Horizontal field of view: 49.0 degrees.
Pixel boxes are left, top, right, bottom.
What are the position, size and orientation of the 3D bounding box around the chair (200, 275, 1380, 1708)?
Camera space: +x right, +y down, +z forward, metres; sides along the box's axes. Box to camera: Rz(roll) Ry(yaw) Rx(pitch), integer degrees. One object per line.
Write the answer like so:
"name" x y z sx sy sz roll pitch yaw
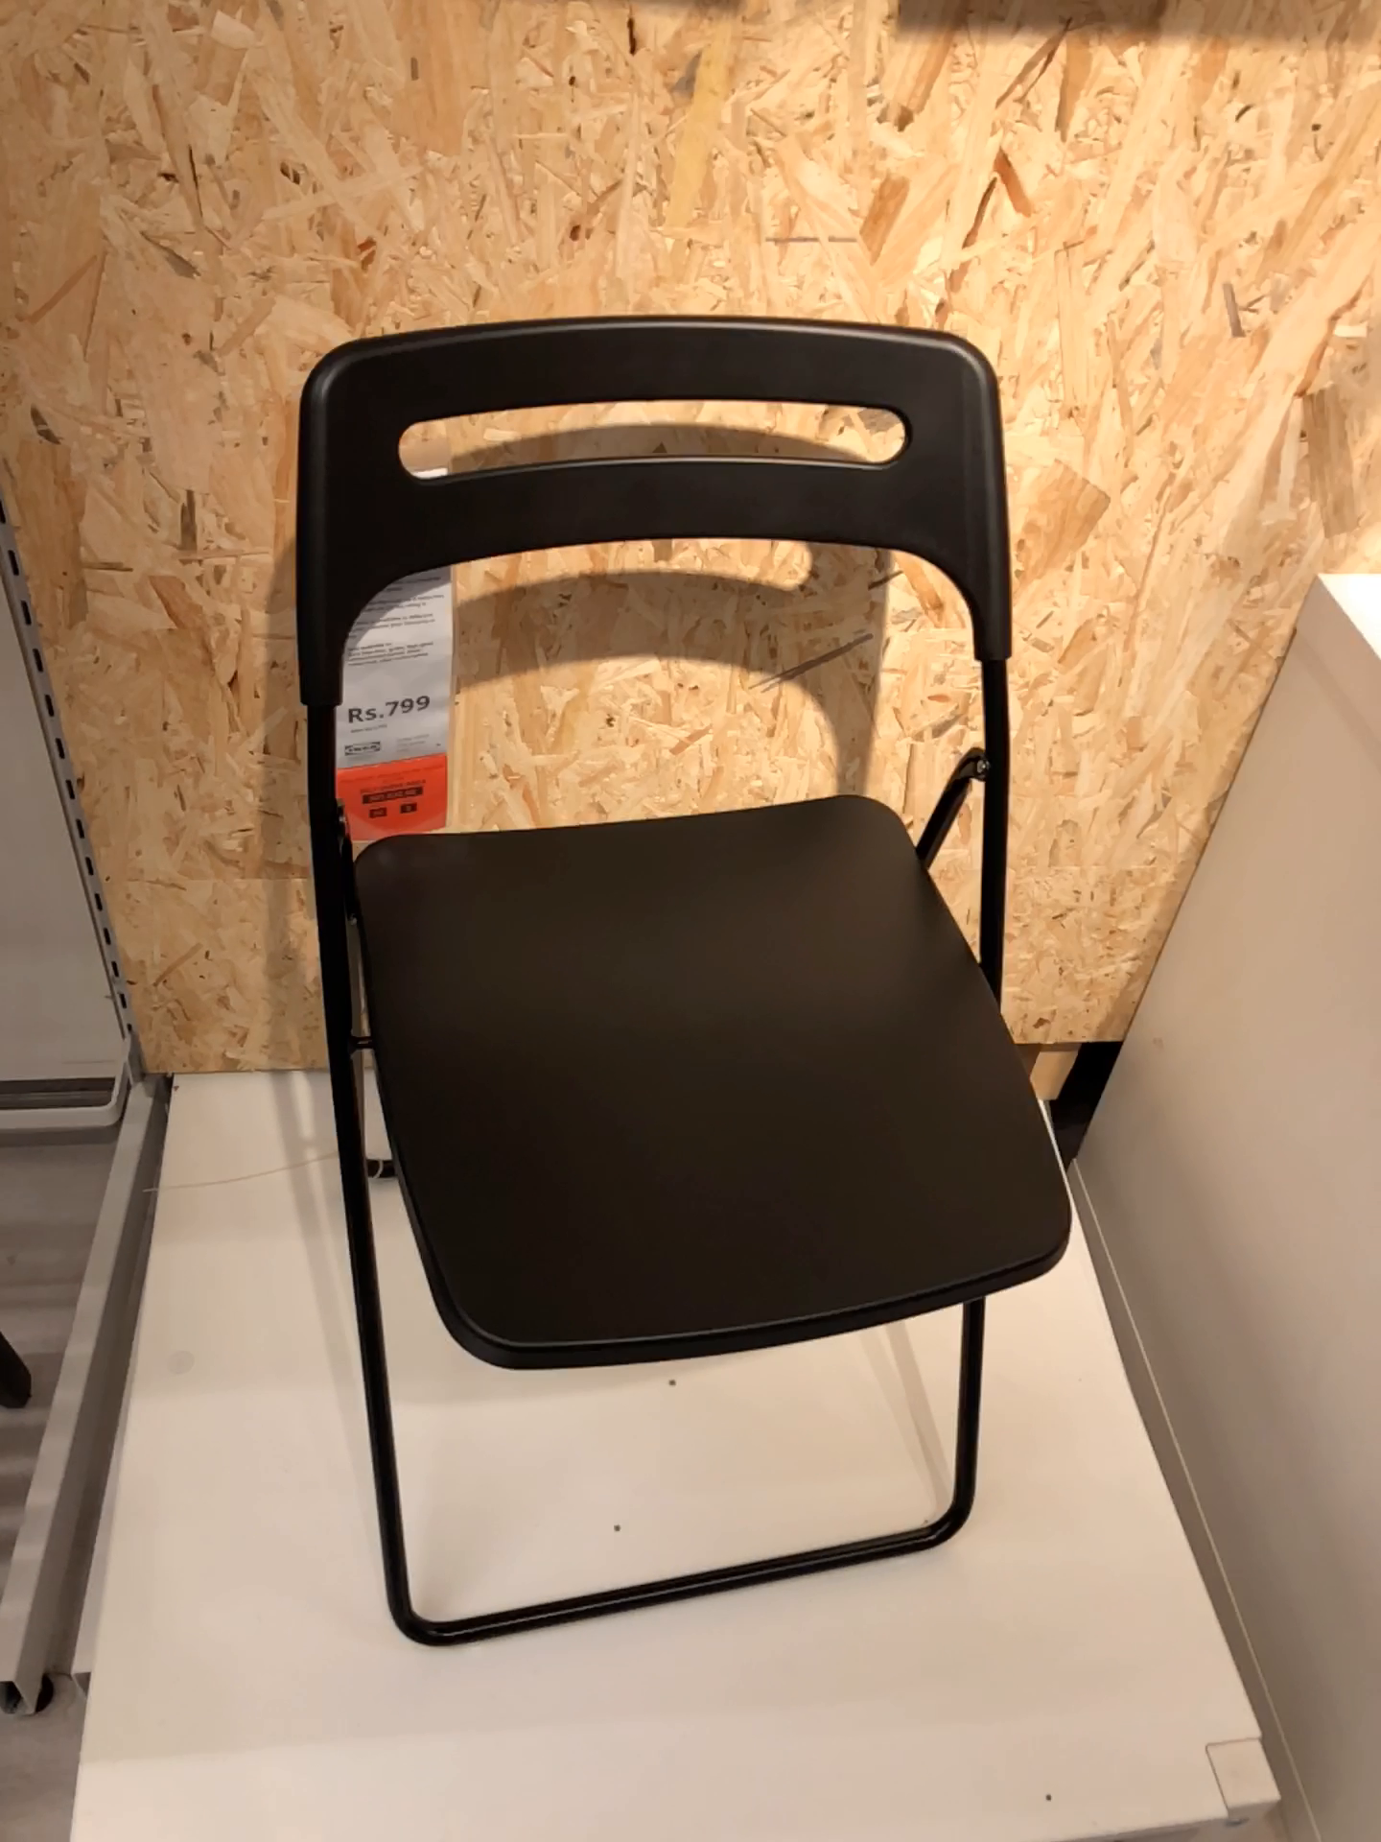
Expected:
"chair" -0.004 0.056 0.984 0.490 0.735 0.523 -5 45 -12
